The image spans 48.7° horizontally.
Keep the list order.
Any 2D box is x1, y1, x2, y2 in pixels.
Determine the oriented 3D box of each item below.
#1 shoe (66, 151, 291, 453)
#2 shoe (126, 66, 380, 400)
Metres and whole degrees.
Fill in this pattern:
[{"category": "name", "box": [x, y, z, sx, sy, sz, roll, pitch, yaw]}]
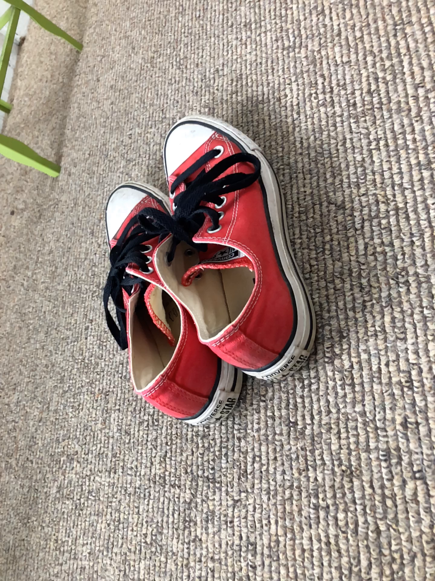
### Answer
[{"category": "shoe", "box": [-0.052, 0.001, 0.448, 0.102, 0.097, 0.263, -44, 48, 22]}, {"category": "shoe", "box": [0.012, -0.056, 0.399, 0.102, 0.088, 0.260, -39, 50, 25]}]
